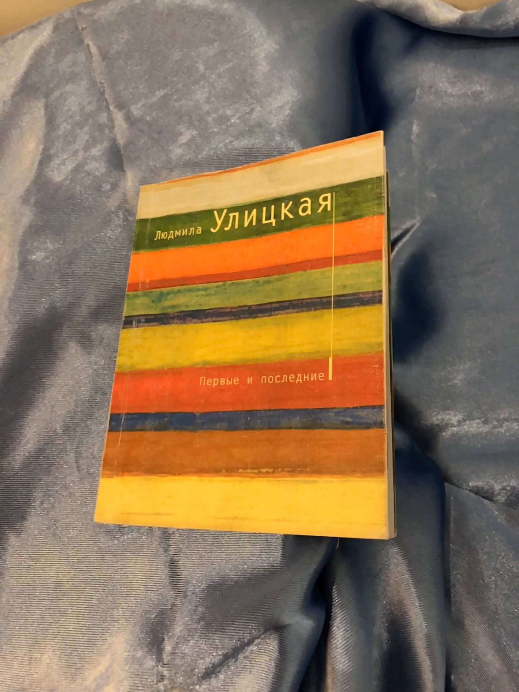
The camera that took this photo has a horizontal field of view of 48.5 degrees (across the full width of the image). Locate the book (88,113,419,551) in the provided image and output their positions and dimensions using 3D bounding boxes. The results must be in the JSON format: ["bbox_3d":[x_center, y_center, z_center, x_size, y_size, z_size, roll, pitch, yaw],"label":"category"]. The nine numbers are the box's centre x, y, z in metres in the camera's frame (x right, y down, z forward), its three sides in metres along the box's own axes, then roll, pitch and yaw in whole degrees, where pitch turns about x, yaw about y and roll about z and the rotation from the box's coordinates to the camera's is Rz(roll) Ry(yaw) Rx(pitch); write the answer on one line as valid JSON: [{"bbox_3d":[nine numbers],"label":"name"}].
[{"bbox_3d":[-0.002,-0.006,0.246,0.129,0.026,0.167,-5,71,25],"label":"book"}]
